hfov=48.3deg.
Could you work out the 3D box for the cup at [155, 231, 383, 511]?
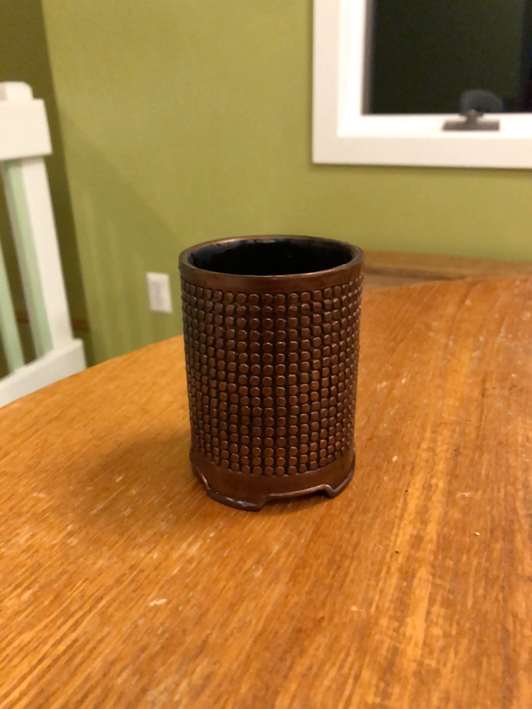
[{"bbox_3d":[0.003,0.004,0.253,0.077,0.097,0.073,-1,22,1],"label":"cup"}]
